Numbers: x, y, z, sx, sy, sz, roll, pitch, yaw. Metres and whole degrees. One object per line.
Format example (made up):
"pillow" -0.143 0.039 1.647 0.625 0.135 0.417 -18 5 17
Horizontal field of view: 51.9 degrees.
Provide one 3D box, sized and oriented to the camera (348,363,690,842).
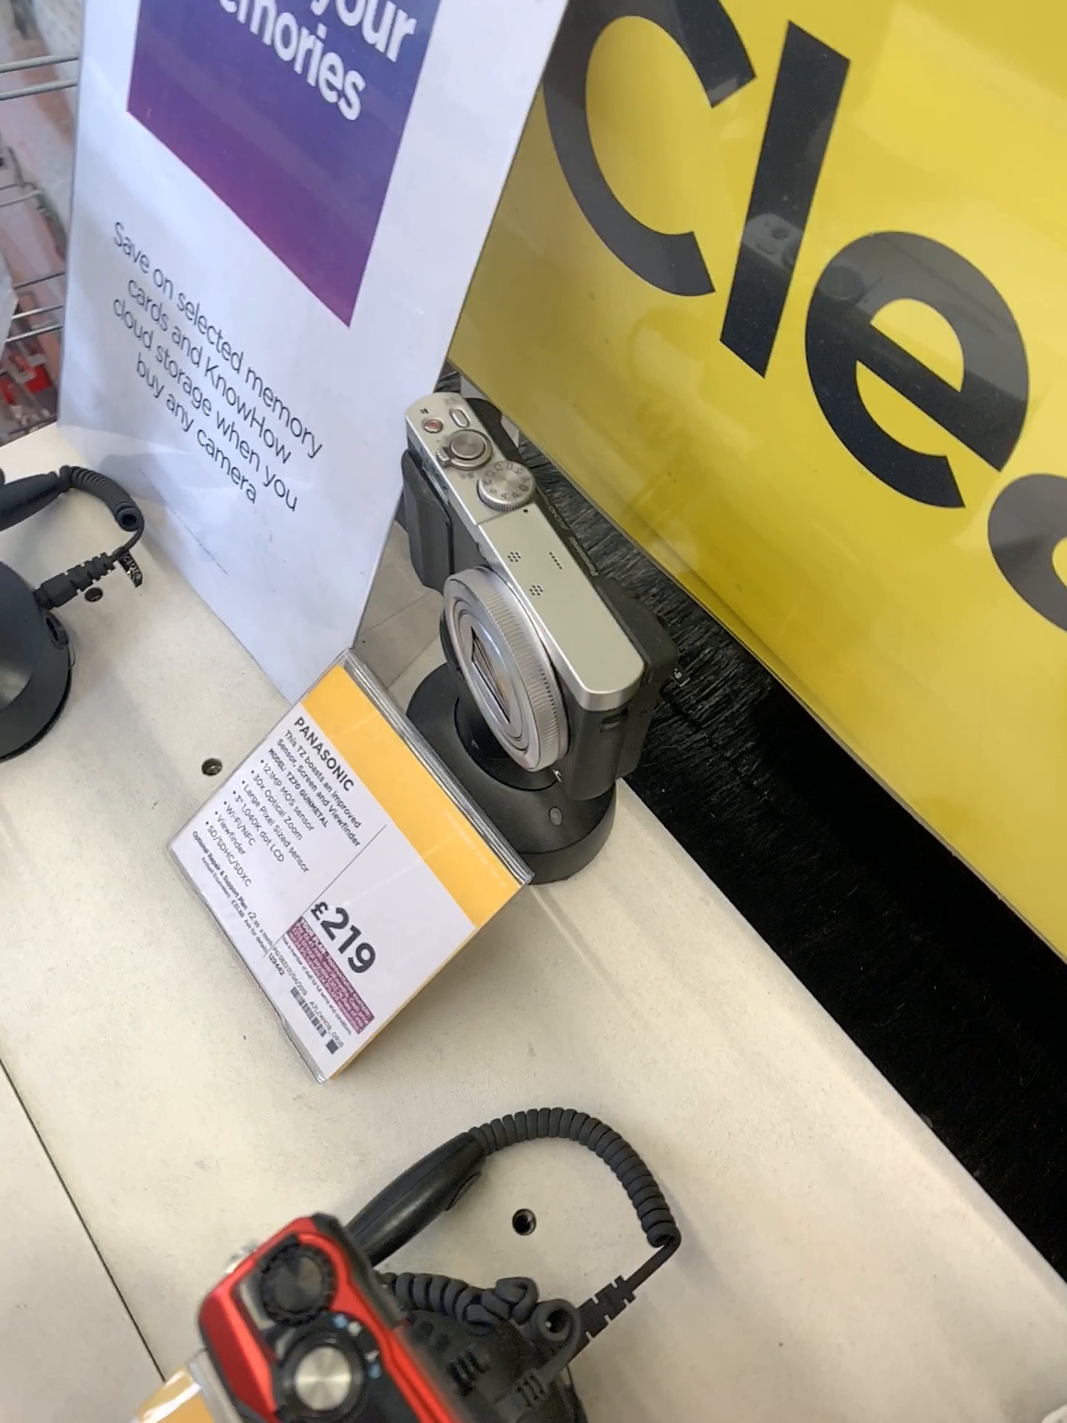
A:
"camera" -0.008 -0.031 0.311 0.040 0.070 0.111 -25 64 -15
